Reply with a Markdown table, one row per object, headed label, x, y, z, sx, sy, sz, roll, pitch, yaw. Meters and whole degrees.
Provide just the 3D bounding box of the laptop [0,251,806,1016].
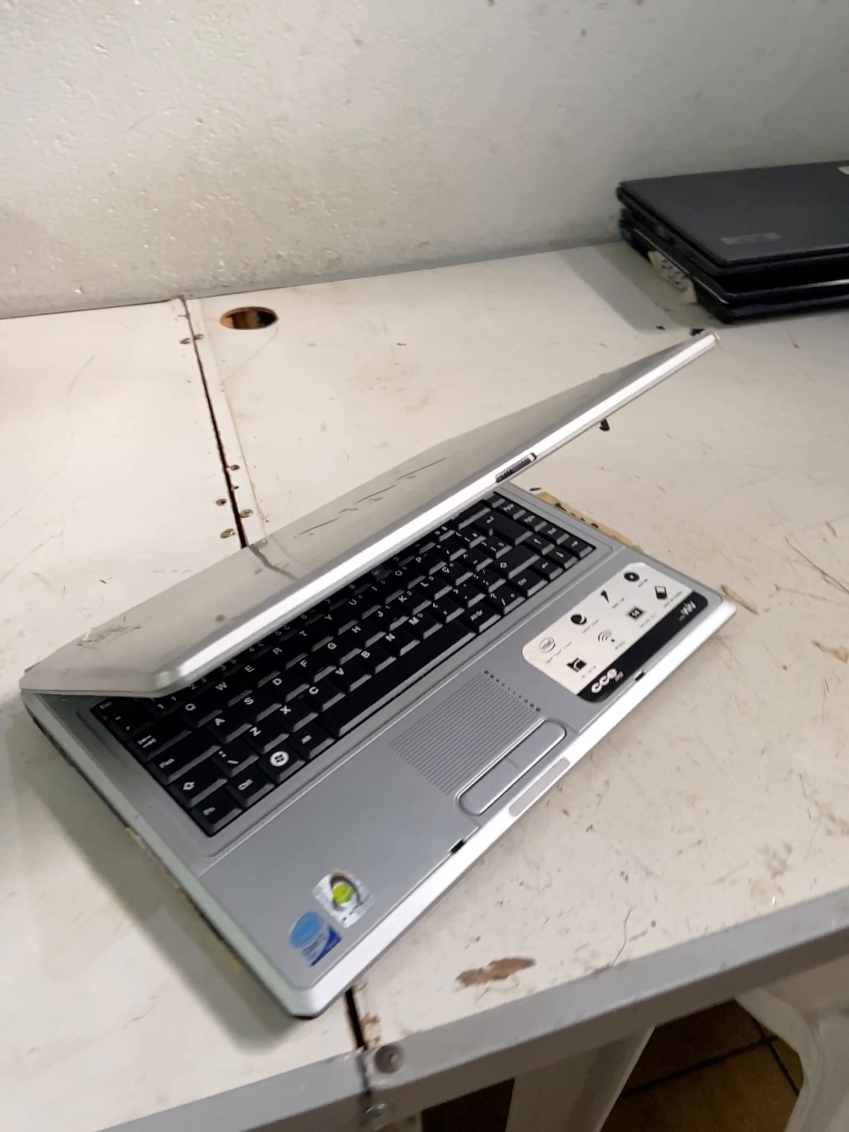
| label | x | y | z | sx | sy | sz | roll | pitch | yaw |
| --- | --- | --- | --- | --- | --- | --- | --- | --- | --- |
| laptop | -0.015 | -0.014 | 0.451 | 0.243 | 0.153 | 0.336 | 32 | 49 | 33 |
